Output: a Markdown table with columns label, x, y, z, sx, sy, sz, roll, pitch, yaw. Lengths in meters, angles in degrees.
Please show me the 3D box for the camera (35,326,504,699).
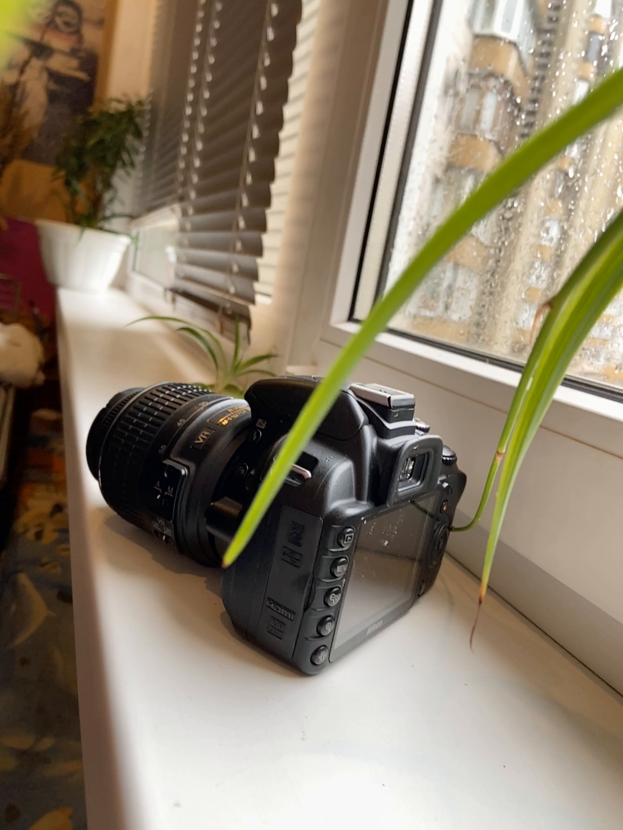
| label | x | y | z | sx | sy | sz | roll | pitch | yaw |
| --- | --- | --- | --- | --- | --- | --- | --- | --- | --- |
| camera | -0.019 | 0.023 | 0.294 | 0.159 | 0.092 | 0.122 | 18 | 13 | 32 |
